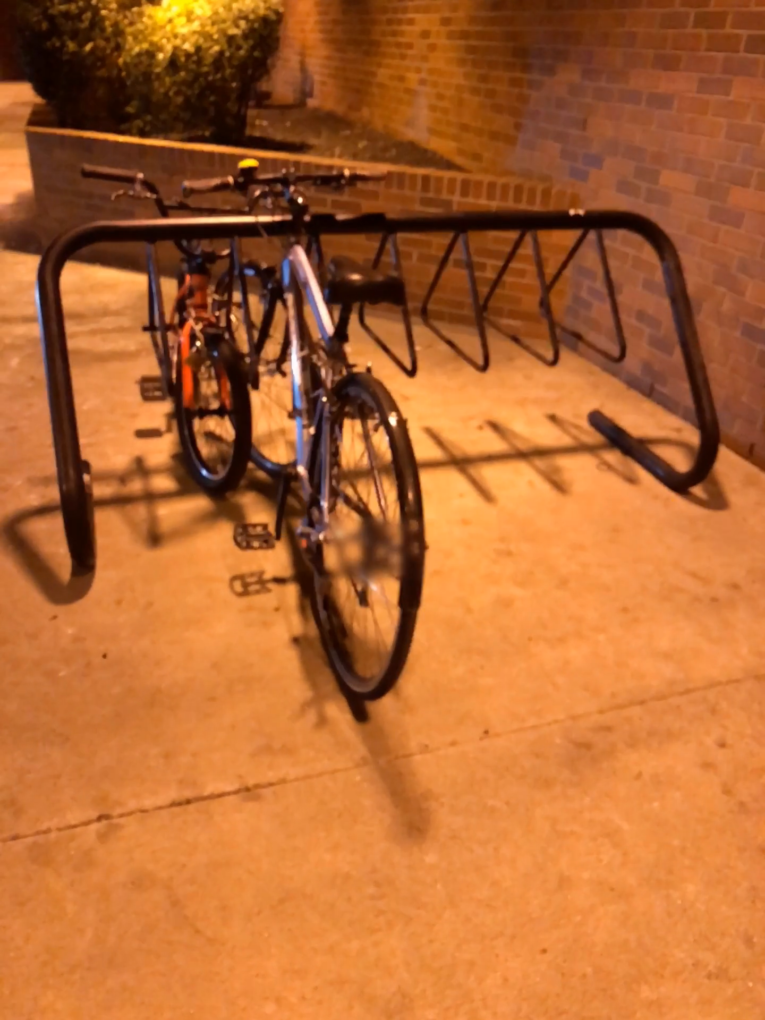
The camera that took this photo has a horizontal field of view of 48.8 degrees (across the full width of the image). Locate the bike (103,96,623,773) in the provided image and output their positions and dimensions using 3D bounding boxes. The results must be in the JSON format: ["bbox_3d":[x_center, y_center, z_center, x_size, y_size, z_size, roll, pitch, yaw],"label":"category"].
[{"bbox_3d":[-0.231,-0.383,2.063,0.638,0.864,1.652,-8,35,-19],"label":"bike"}]
